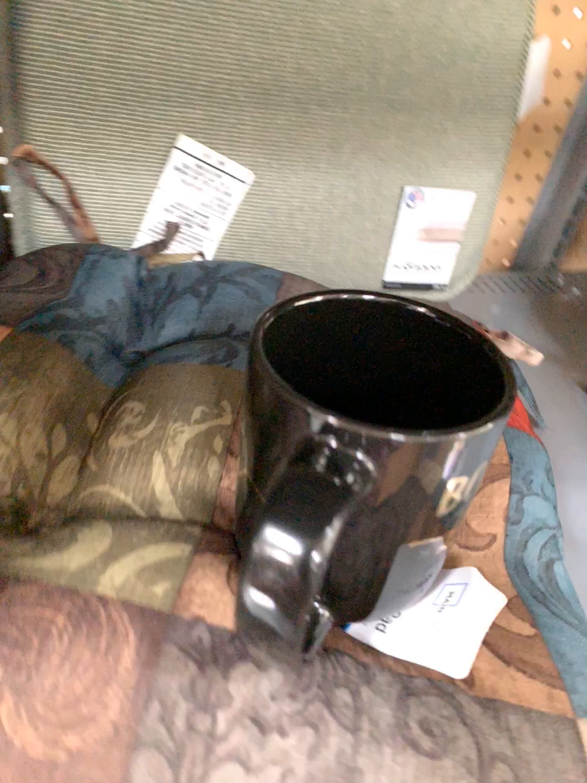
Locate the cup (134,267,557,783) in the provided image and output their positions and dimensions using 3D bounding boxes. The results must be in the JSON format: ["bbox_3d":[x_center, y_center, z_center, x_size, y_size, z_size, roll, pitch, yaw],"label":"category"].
[{"bbox_3d":[0.024,0.033,0.221,0.100,0.100,0.130,20,31,12],"label":"cup"}]
